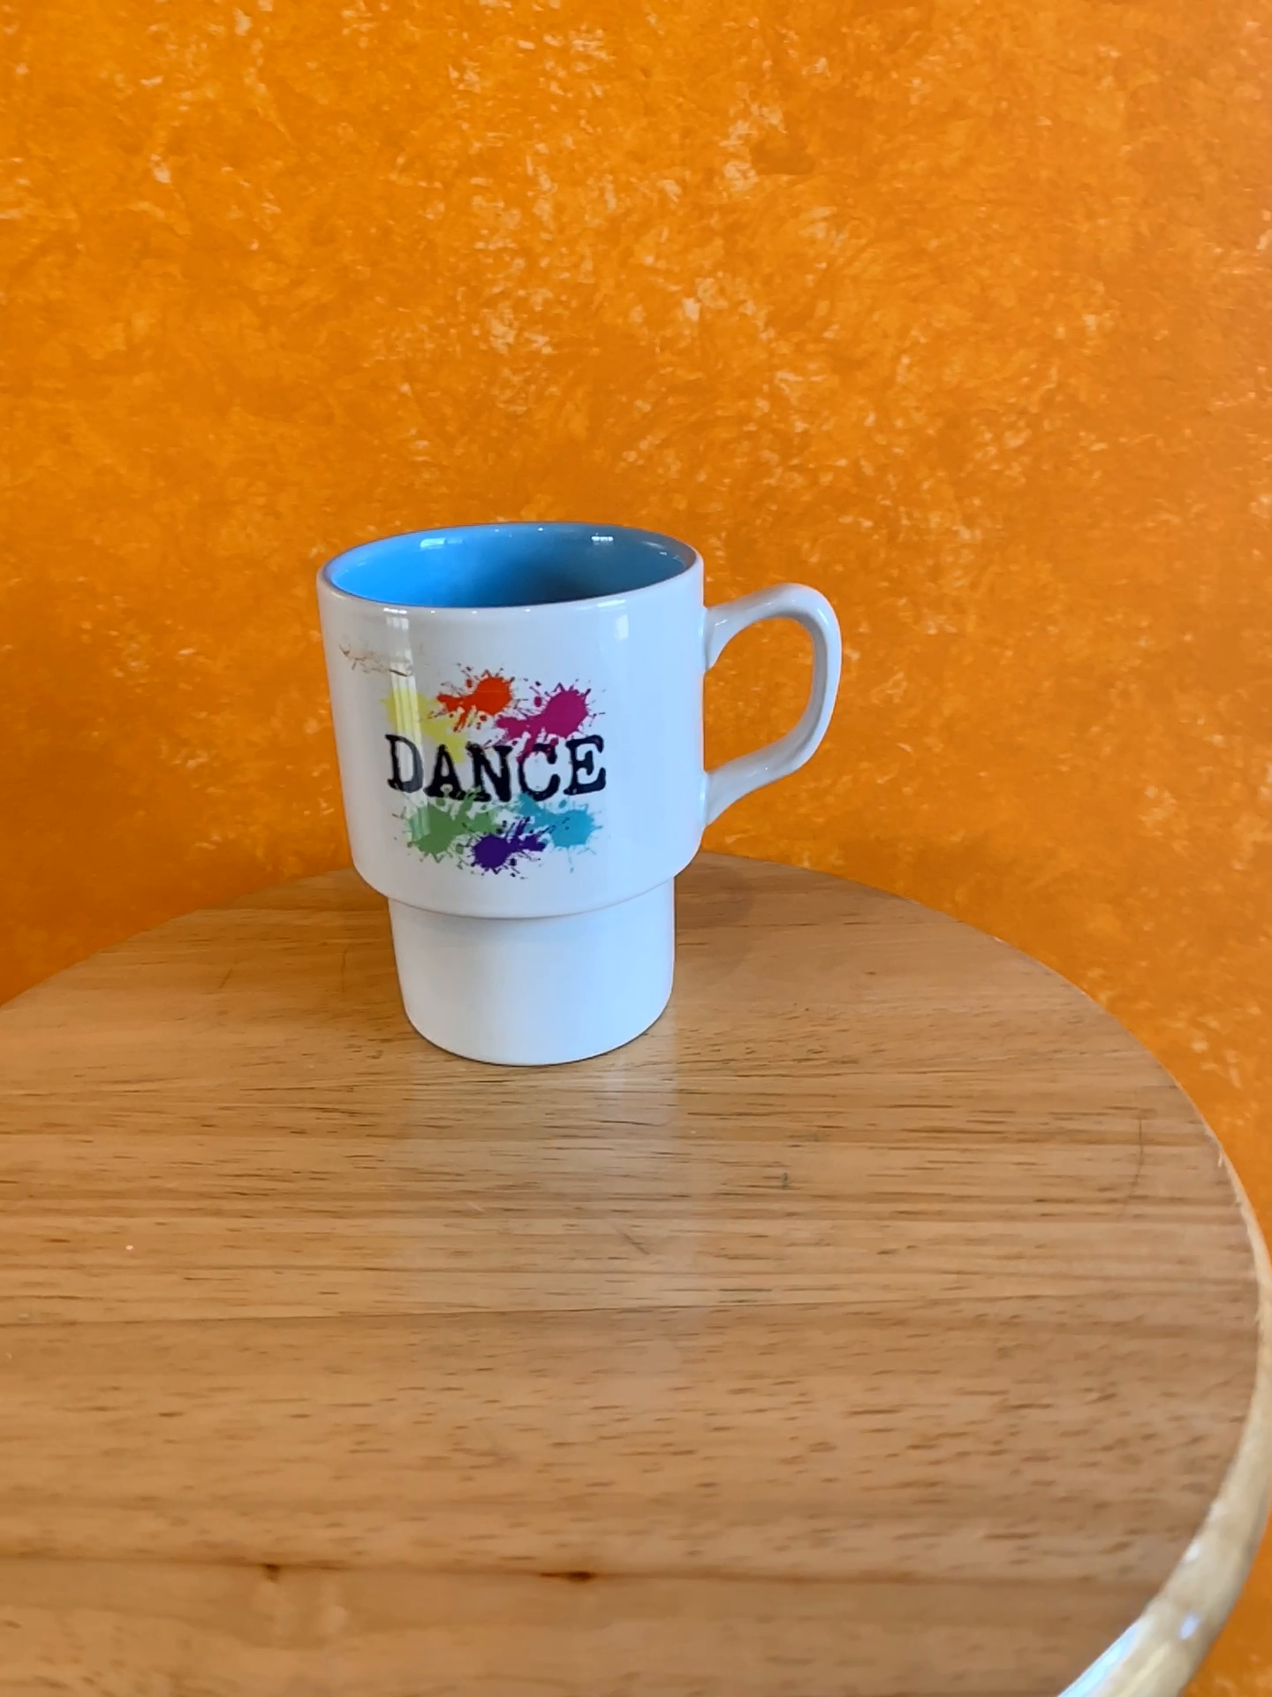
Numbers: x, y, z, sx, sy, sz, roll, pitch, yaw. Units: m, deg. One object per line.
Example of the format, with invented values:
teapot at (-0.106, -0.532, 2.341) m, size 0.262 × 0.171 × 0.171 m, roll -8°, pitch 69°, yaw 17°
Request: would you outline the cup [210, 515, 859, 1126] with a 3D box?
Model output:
cup at (-0.014, -0.012, 0.297) m, size 0.120 × 0.109 × 0.080 m, roll 3°, pitch 24°, yaw 8°
